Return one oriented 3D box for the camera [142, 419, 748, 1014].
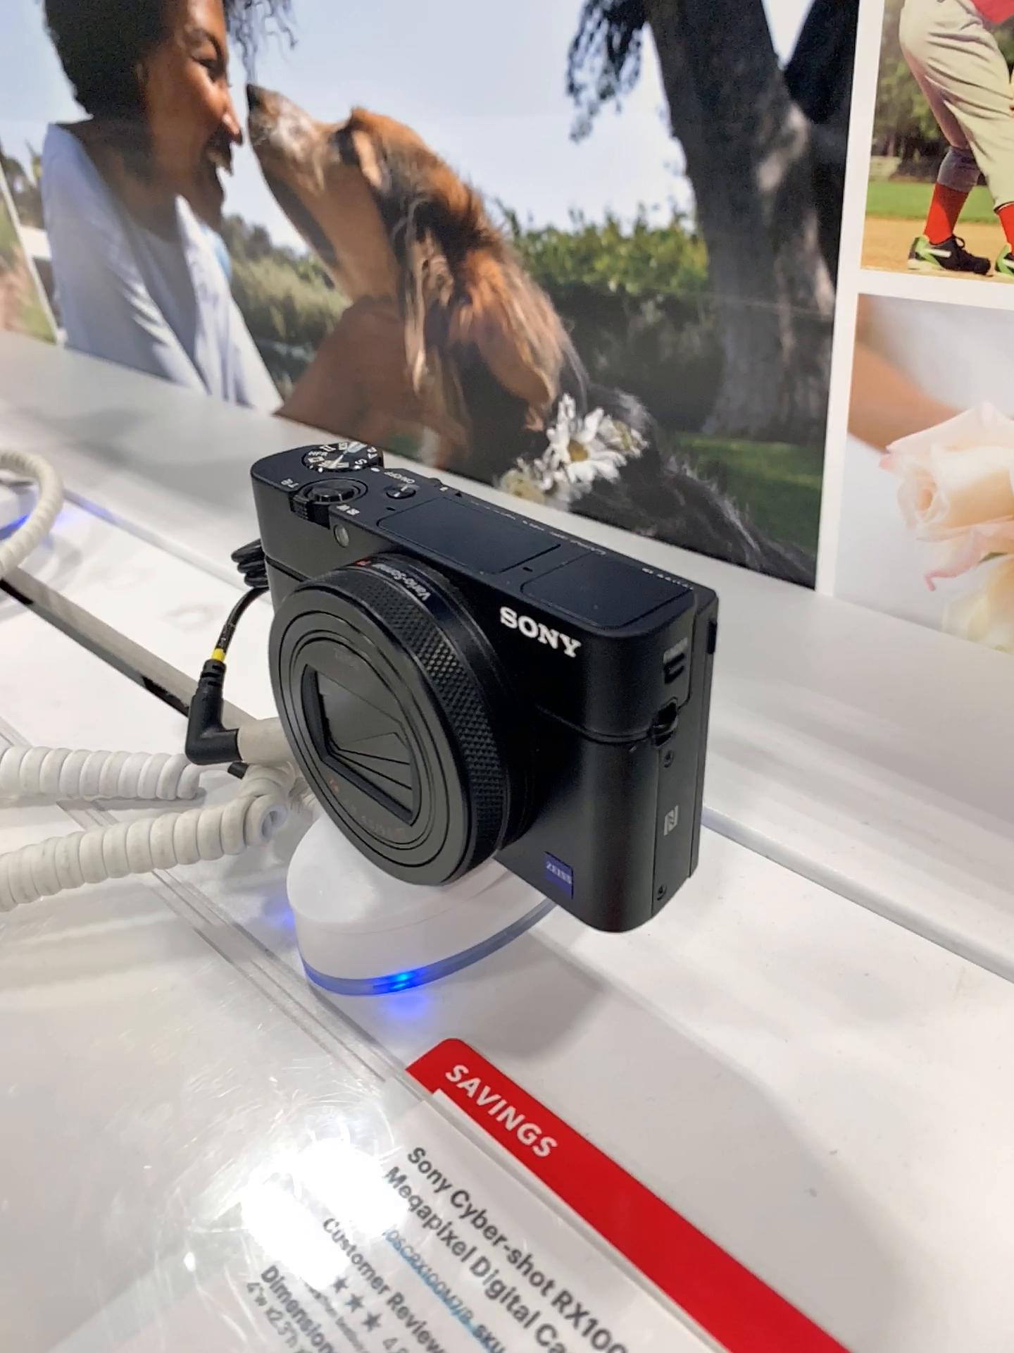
[{"bbox_3d":[-0.016,-0.001,0.192,0.043,0.060,0.105,-26,39,-36],"label":"camera"}]
